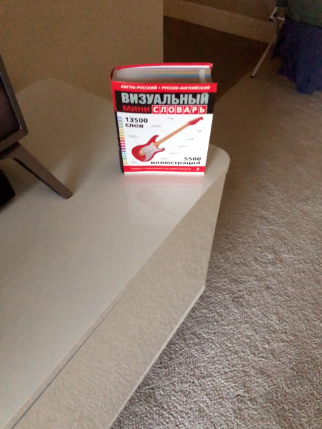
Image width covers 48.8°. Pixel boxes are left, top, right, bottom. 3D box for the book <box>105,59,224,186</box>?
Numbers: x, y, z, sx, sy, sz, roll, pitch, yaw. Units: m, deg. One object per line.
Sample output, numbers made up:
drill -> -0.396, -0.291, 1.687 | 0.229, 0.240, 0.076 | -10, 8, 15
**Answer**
book -> 0.003, -0.129, 0.531 | 0.150, 0.179, 0.060 | 0, 48, -1
